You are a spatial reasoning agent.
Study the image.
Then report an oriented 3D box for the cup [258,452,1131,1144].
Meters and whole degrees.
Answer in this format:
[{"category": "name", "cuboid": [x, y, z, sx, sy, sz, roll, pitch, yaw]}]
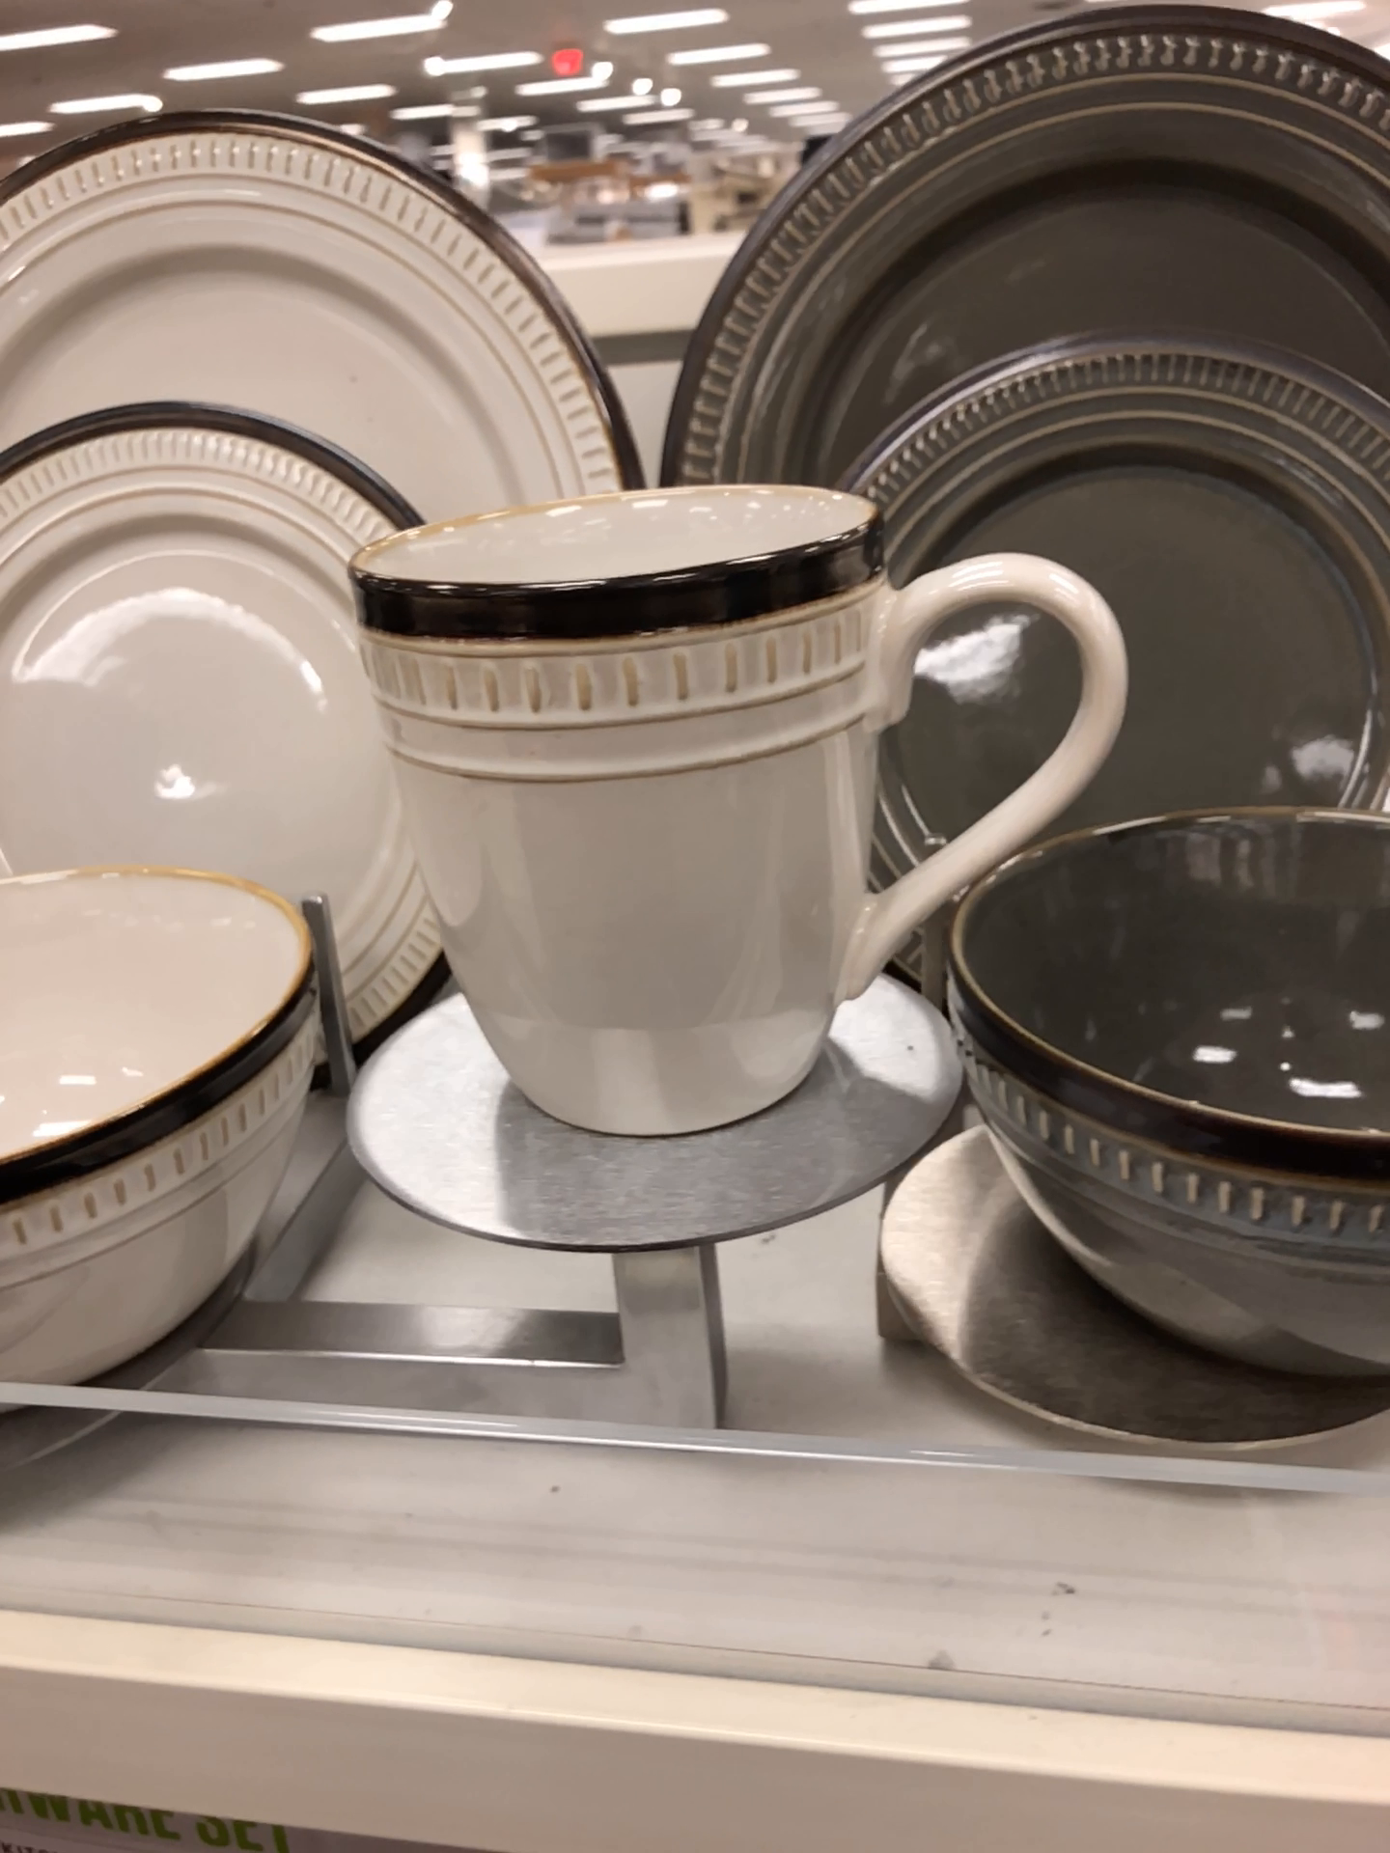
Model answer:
[{"category": "cup", "cuboid": [0.006, -0.027, 0.287, 0.128, 0.097, 0.092, -2, 24, 6]}]
